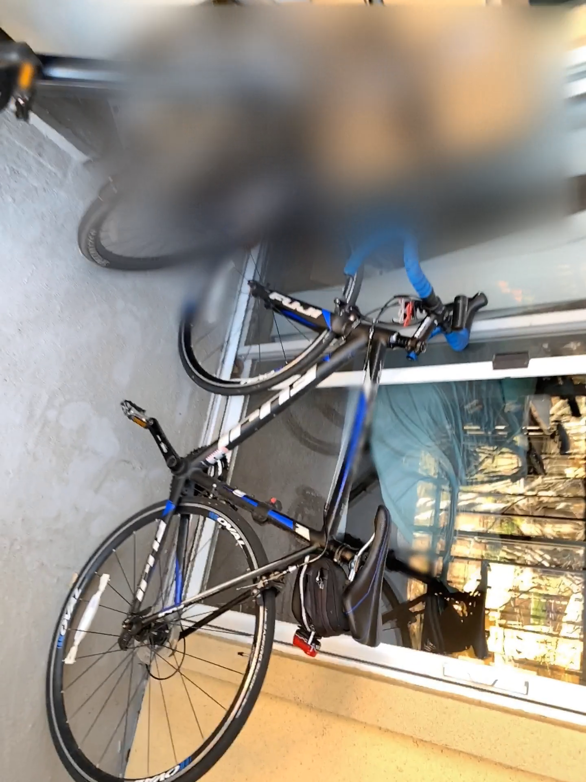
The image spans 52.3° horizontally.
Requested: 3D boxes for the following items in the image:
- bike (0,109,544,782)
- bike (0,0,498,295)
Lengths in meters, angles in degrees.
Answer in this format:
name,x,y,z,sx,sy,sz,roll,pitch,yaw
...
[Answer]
name,x,y,z,sx,sy,sz,roll,pitch,yaw
bike,-0.055,0.151,1.434,0.365,0.931,1.502,42,59,-46
bike,-0.335,-0.804,1.085,1.592,0.971,0.621,23,68,-54
